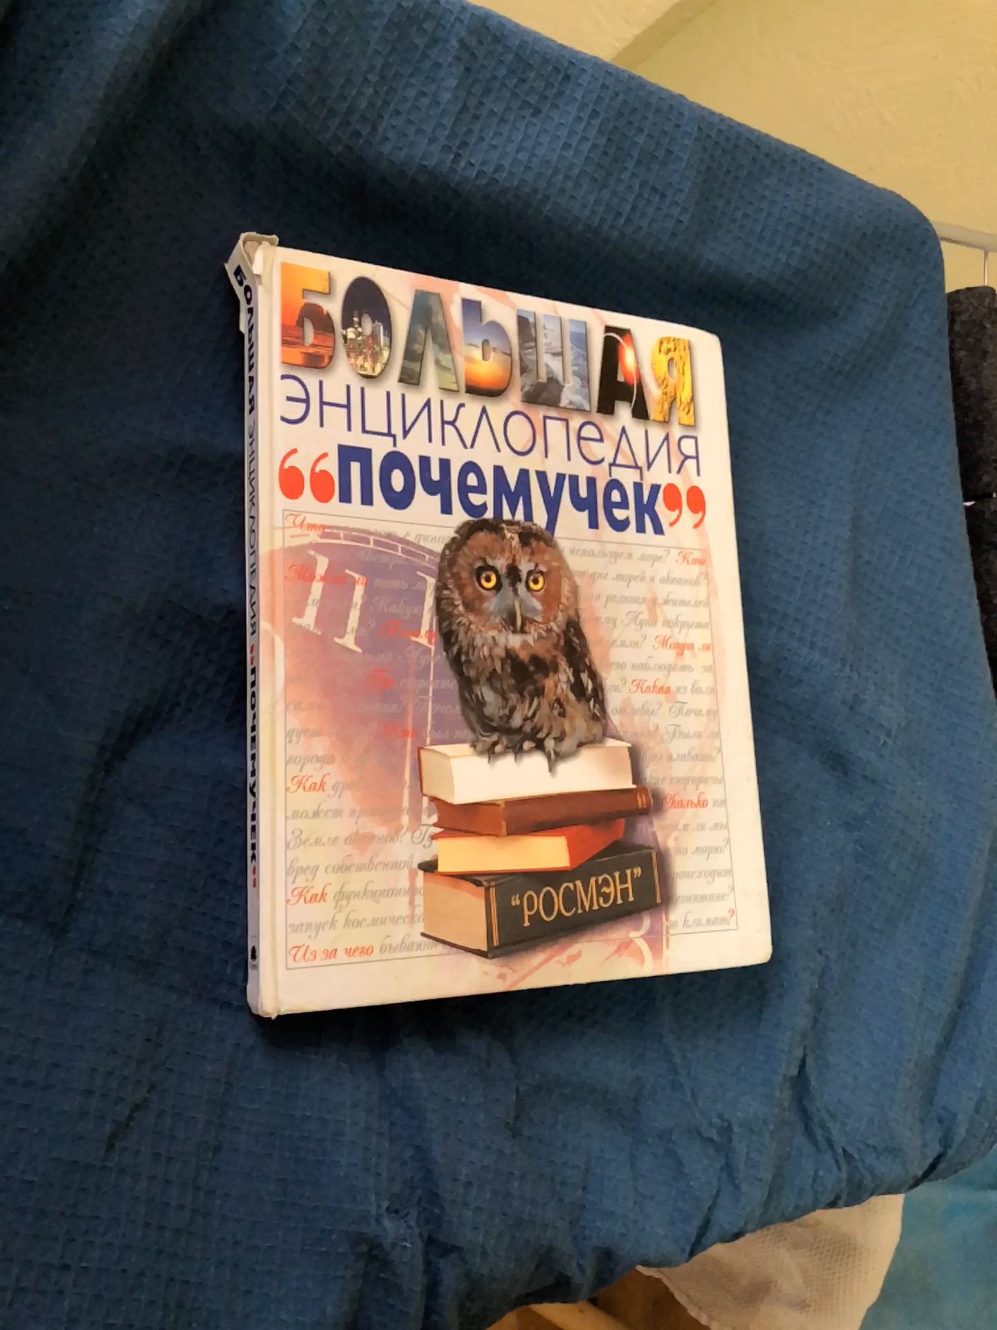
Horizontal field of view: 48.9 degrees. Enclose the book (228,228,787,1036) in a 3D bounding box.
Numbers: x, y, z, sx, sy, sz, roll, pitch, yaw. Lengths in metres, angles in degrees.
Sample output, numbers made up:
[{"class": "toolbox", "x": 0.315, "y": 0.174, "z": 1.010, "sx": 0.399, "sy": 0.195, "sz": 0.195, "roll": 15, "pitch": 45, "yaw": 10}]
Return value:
[{"class": "book", "x": 0.007, "y": -0.016, "z": 0.468, "sx": 0.236, "sy": 0.030, "sz": 0.305, "roll": 2, "pitch": 79, "yaw": -26}]
